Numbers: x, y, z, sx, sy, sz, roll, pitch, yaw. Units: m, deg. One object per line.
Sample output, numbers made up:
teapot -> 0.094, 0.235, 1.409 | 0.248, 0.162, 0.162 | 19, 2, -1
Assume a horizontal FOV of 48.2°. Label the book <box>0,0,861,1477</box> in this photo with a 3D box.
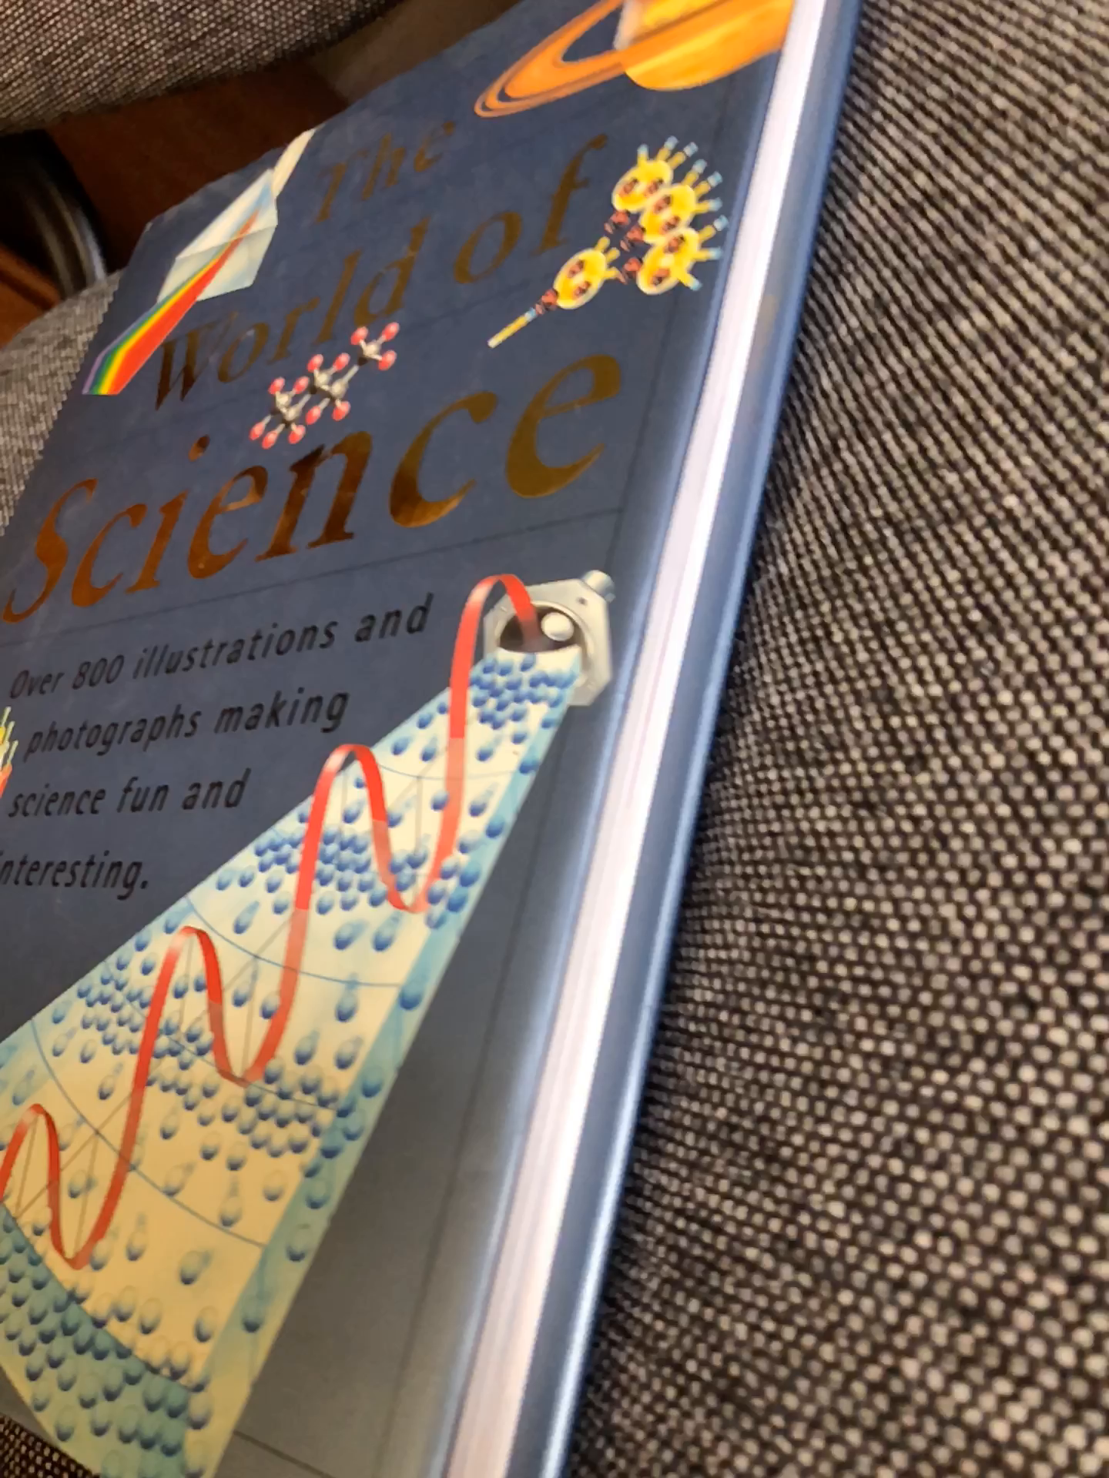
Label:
book -> -0.064, -0.024, 0.247 | 0.221, 0.030, 0.276 | -6, 62, 39
